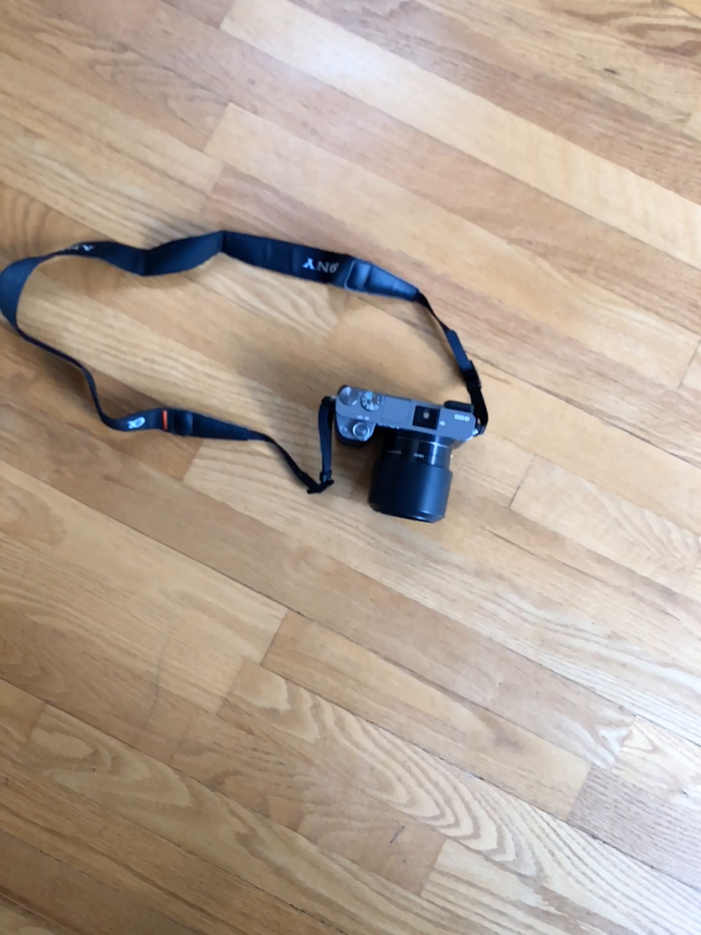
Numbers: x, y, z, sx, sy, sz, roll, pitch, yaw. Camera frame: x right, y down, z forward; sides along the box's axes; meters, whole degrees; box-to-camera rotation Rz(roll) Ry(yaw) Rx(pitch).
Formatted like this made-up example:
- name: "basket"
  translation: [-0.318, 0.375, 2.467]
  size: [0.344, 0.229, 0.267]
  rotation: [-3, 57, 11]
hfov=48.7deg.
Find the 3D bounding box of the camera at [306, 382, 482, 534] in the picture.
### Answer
- name: "camera"
  translation: [0.037, -0.006, 0.702]
  size: [0.136, 0.079, 0.106]
  rotation: [10, 83, 0]
